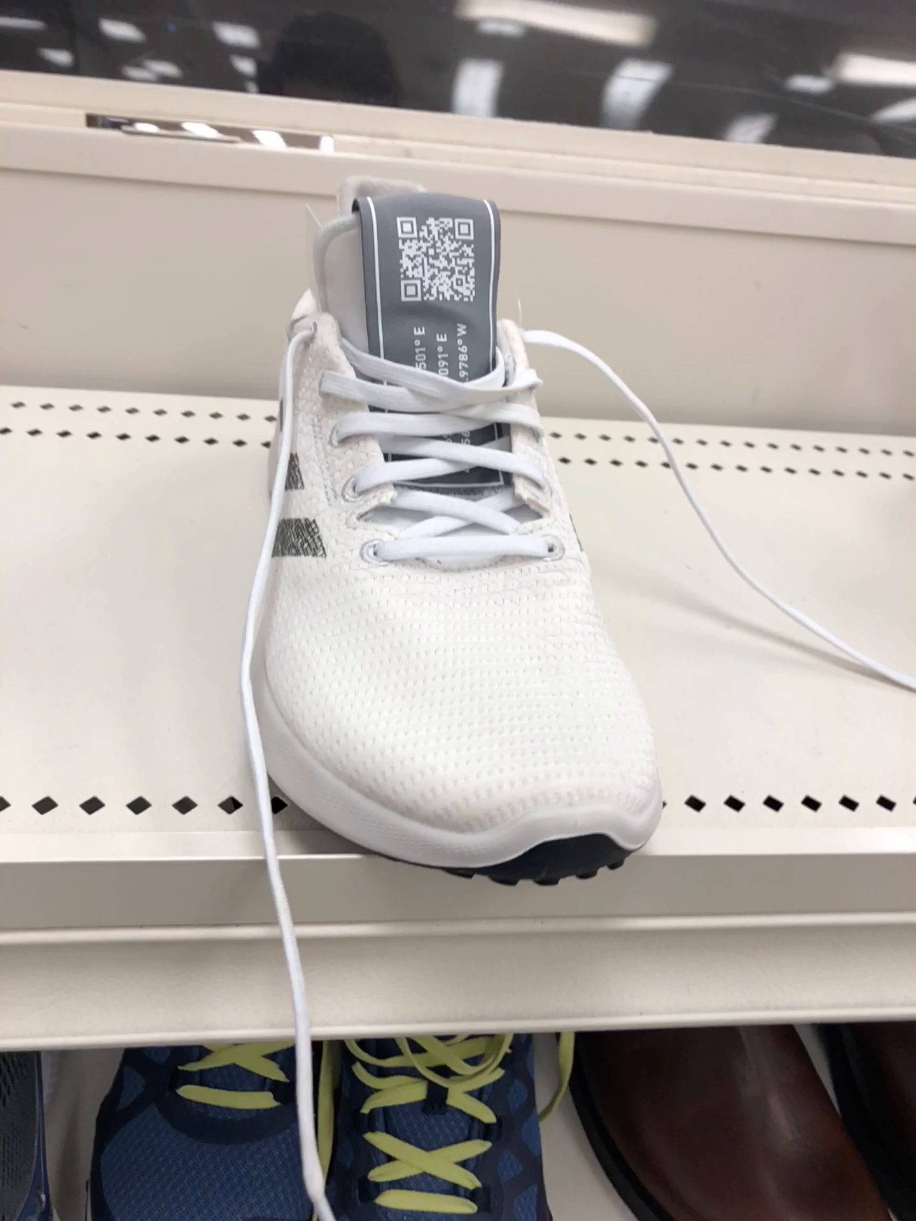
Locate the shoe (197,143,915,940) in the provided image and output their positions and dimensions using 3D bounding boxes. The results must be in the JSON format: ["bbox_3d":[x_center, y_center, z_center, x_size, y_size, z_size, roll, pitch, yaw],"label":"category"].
[{"bbox_3d":[-0.024,-0.079,0.362,0.128,0.139,0.383,-1,26,-14],"label":"shoe"}]
